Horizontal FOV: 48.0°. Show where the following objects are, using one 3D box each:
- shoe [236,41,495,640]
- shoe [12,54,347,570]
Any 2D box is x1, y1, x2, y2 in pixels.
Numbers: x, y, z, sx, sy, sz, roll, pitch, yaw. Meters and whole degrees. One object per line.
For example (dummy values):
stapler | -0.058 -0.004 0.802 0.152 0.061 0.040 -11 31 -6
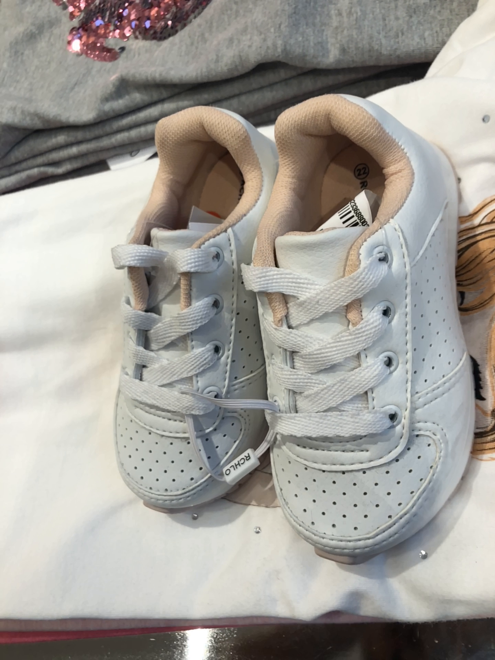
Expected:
shoe | 0.046 0.001 0.189 0.080 0.060 0.160 1 85 17
shoe | -0.020 -0.011 0.211 0.080 0.060 0.160 10 88 19
